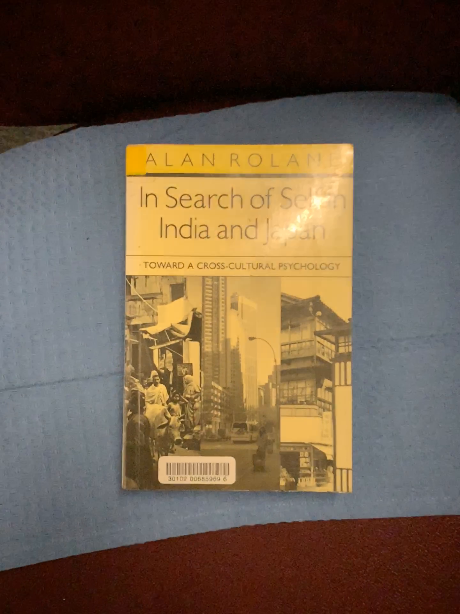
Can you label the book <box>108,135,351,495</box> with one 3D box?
[{"bbox_3d":[0.000,0.004,0.324,0.155,0.032,0.232,0,88,0],"label":"book"}]
